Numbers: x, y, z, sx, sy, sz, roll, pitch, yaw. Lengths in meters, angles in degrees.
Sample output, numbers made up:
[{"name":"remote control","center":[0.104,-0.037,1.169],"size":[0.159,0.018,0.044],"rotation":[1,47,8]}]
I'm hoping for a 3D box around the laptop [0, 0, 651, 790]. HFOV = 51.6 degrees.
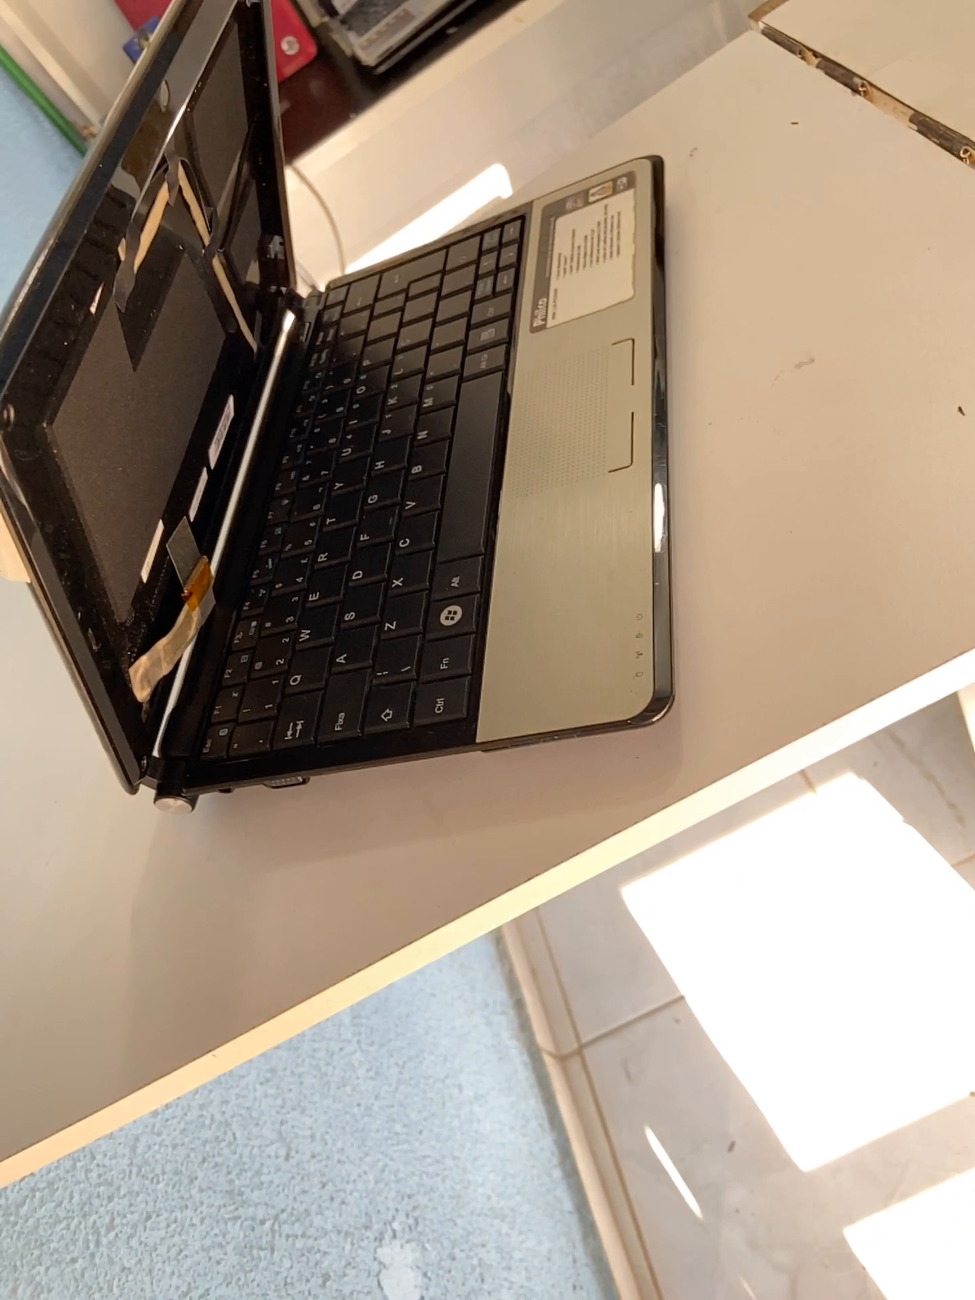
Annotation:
[{"name":"laptop","center":[-0.058,-0.120,0.338],"size":[0.176,0.144,0.276],"rotation":[-12,52,25]}]
